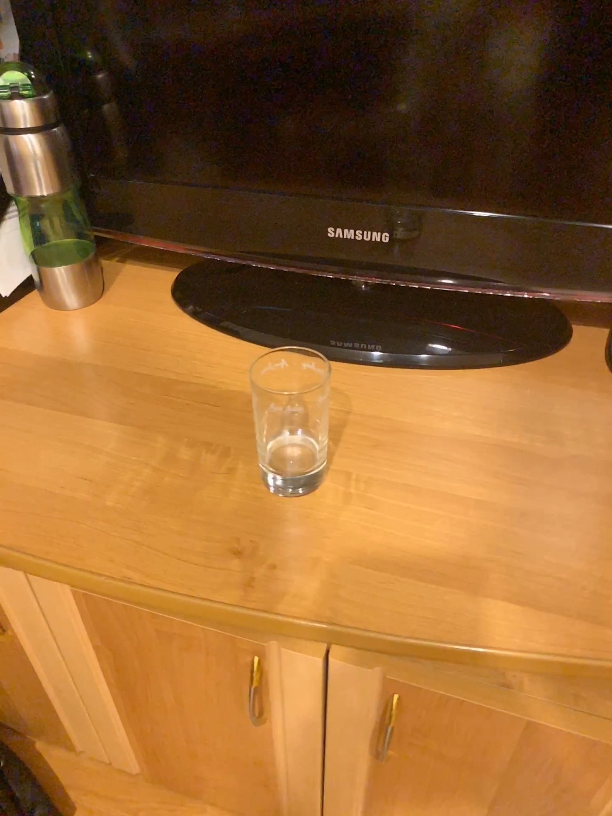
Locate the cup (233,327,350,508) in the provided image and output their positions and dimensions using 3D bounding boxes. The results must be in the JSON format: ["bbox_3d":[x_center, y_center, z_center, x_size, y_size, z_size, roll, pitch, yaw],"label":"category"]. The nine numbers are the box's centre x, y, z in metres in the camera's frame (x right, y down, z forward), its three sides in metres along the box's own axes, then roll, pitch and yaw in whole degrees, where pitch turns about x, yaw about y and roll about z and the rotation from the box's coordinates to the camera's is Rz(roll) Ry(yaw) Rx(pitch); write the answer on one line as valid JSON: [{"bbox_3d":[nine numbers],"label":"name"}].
[{"bbox_3d":[-0.010,0.007,0.440,0.060,0.099,0.060,-1,38,1],"label":"cup"}]
